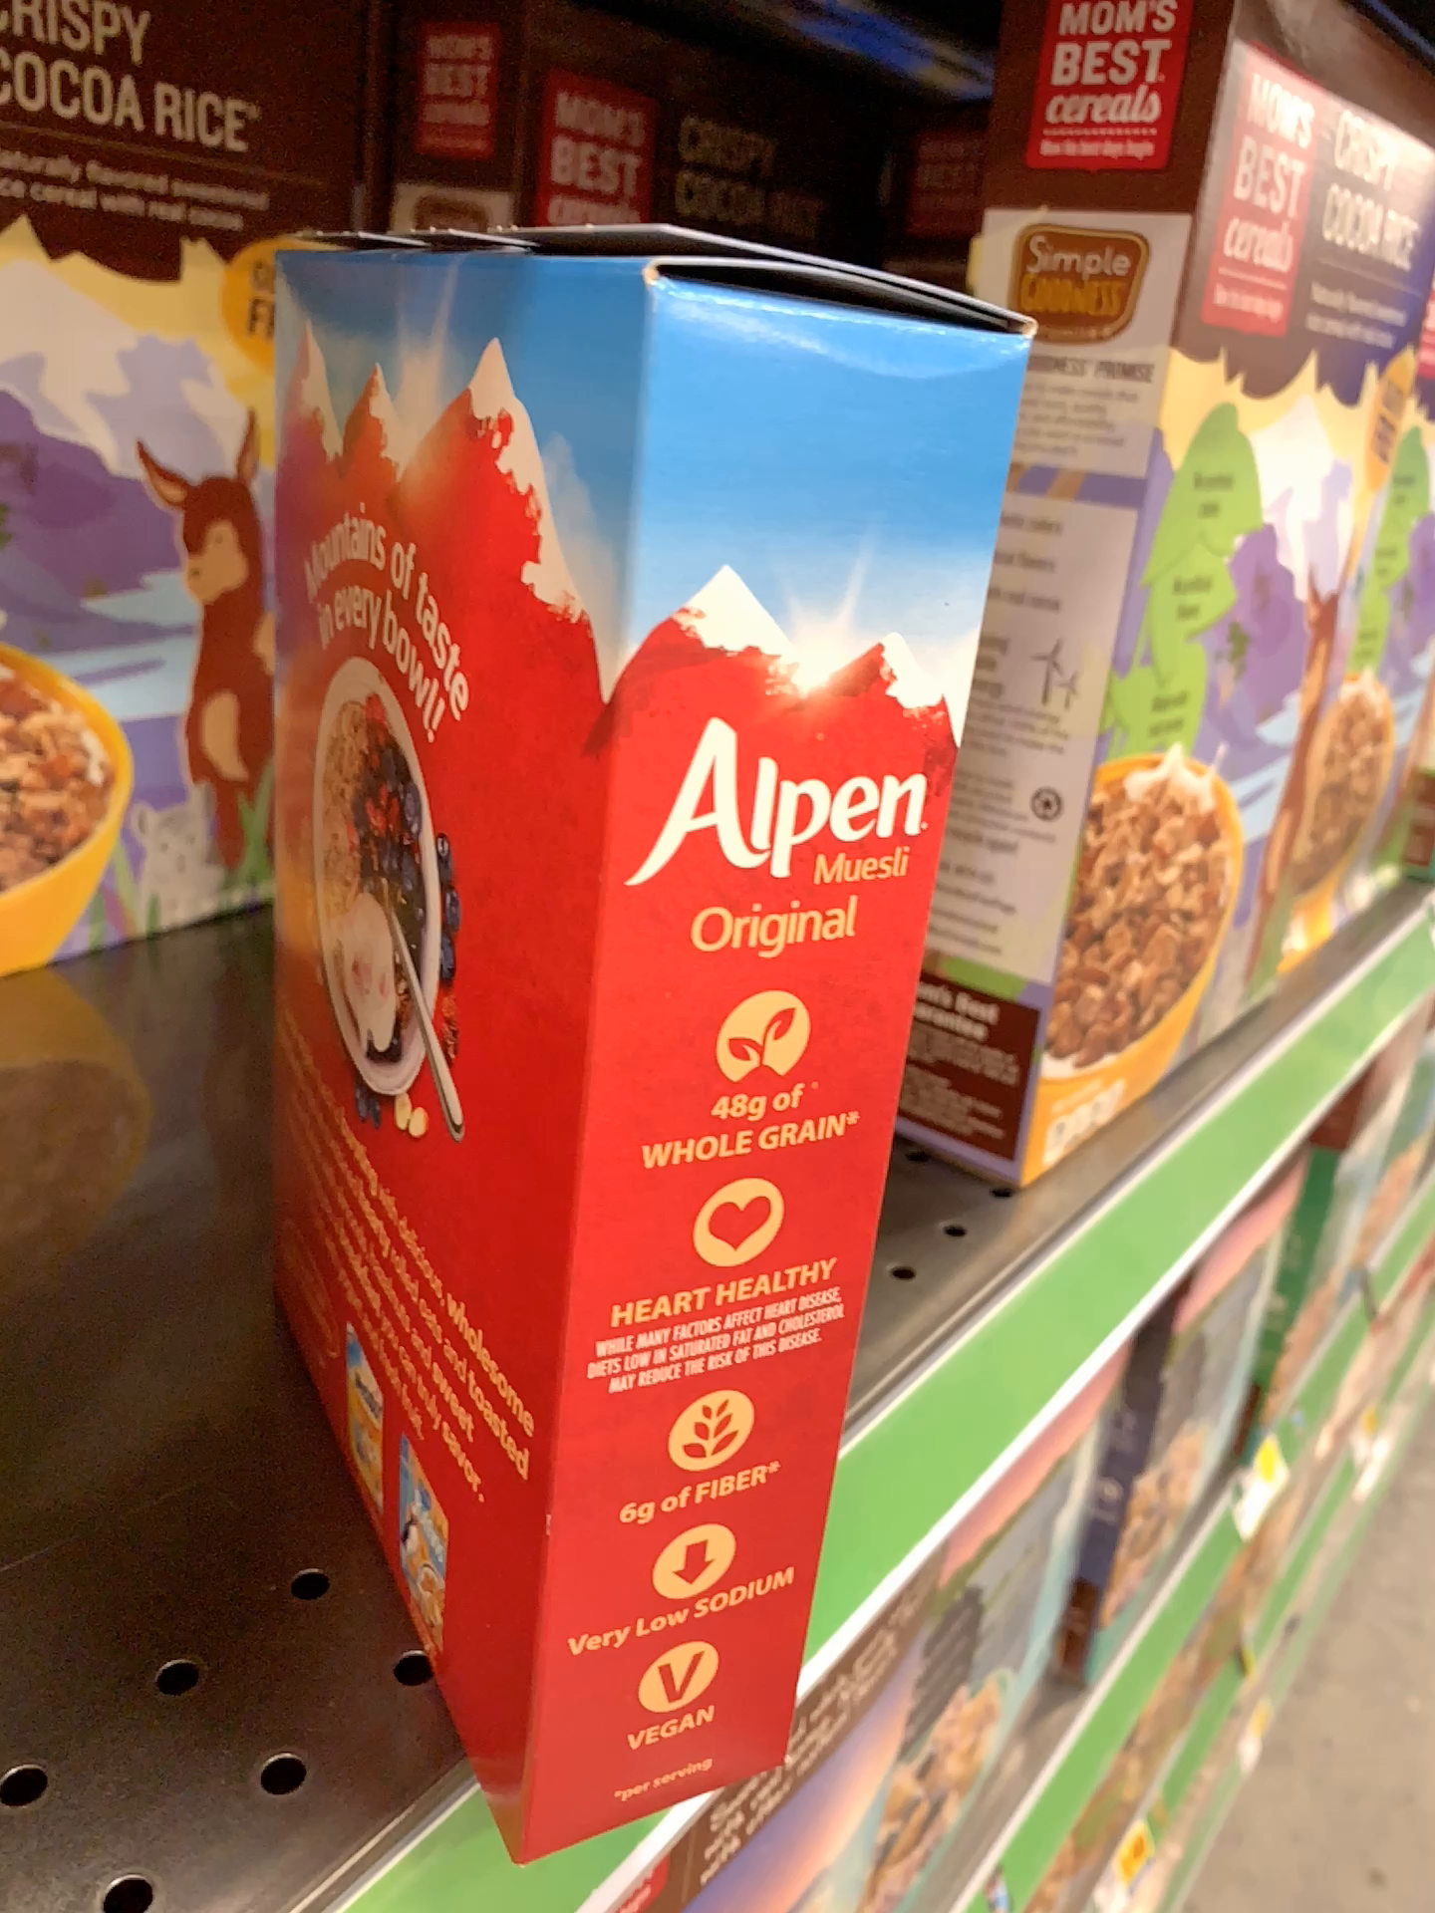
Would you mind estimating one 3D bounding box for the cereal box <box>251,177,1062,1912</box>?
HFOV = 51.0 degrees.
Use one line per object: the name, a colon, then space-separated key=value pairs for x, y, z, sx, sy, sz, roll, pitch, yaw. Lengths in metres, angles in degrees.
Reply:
cereal box: x=-0.033 y=0.003 z=0.231 sx=0.040 sy=0.209 sz=0.161 roll=-6 pitch=25 yaw=-27
